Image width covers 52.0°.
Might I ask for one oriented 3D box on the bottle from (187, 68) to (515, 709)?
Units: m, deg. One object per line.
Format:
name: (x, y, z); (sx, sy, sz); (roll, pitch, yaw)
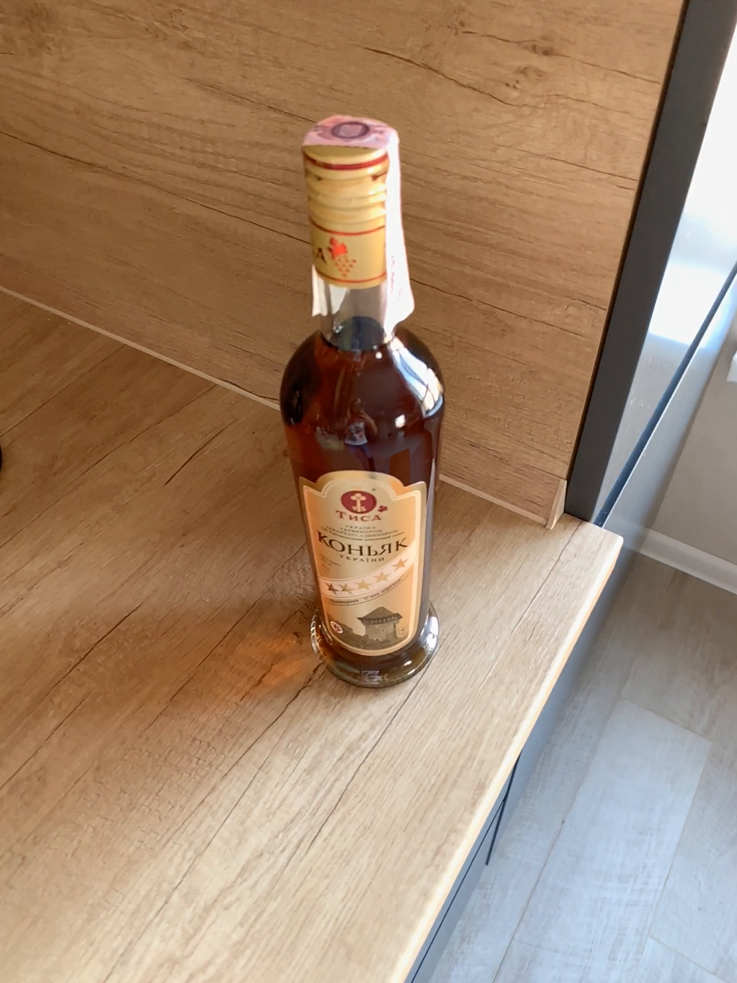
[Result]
bottle: (0.002, -0.009, 0.310); (0.080, 0.279, 0.070); (3, 49, 5)
